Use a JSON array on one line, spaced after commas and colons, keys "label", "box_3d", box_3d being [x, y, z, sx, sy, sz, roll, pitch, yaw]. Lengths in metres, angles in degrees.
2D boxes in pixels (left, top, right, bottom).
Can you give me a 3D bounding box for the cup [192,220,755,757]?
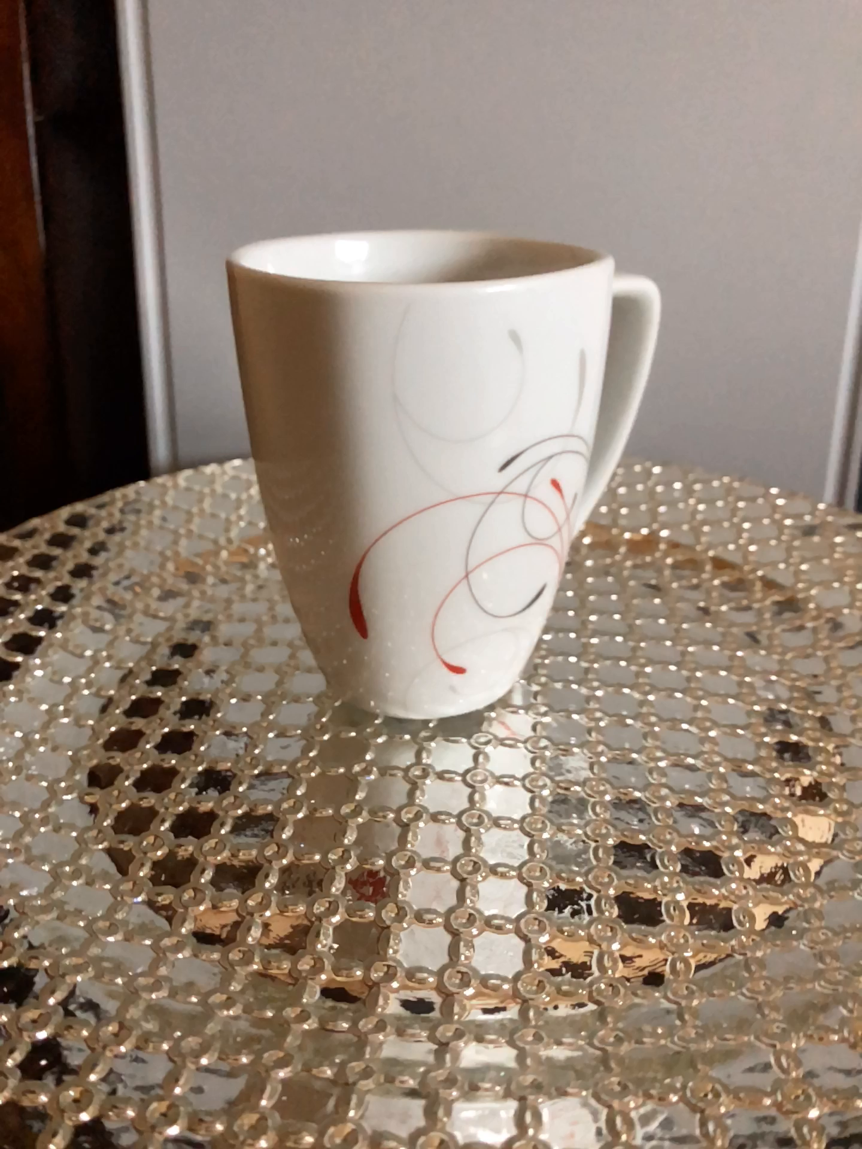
[{"label": "cup", "box_3d": [0.012, -0.033, 0.253, 0.110, 0.100, 0.080, -21, 32, -38]}]
